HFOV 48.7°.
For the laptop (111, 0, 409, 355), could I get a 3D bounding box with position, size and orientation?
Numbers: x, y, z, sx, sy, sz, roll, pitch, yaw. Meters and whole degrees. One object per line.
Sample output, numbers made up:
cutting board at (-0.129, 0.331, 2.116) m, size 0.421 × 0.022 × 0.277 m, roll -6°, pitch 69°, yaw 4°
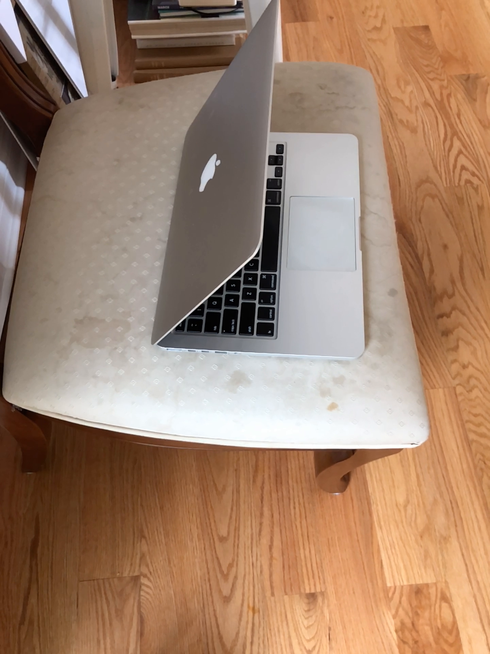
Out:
laptop at (0.021, -0.153, 0.547) m, size 0.218 × 0.183 × 0.310 m, roll 2°, pitch 63°, yaw 4°
